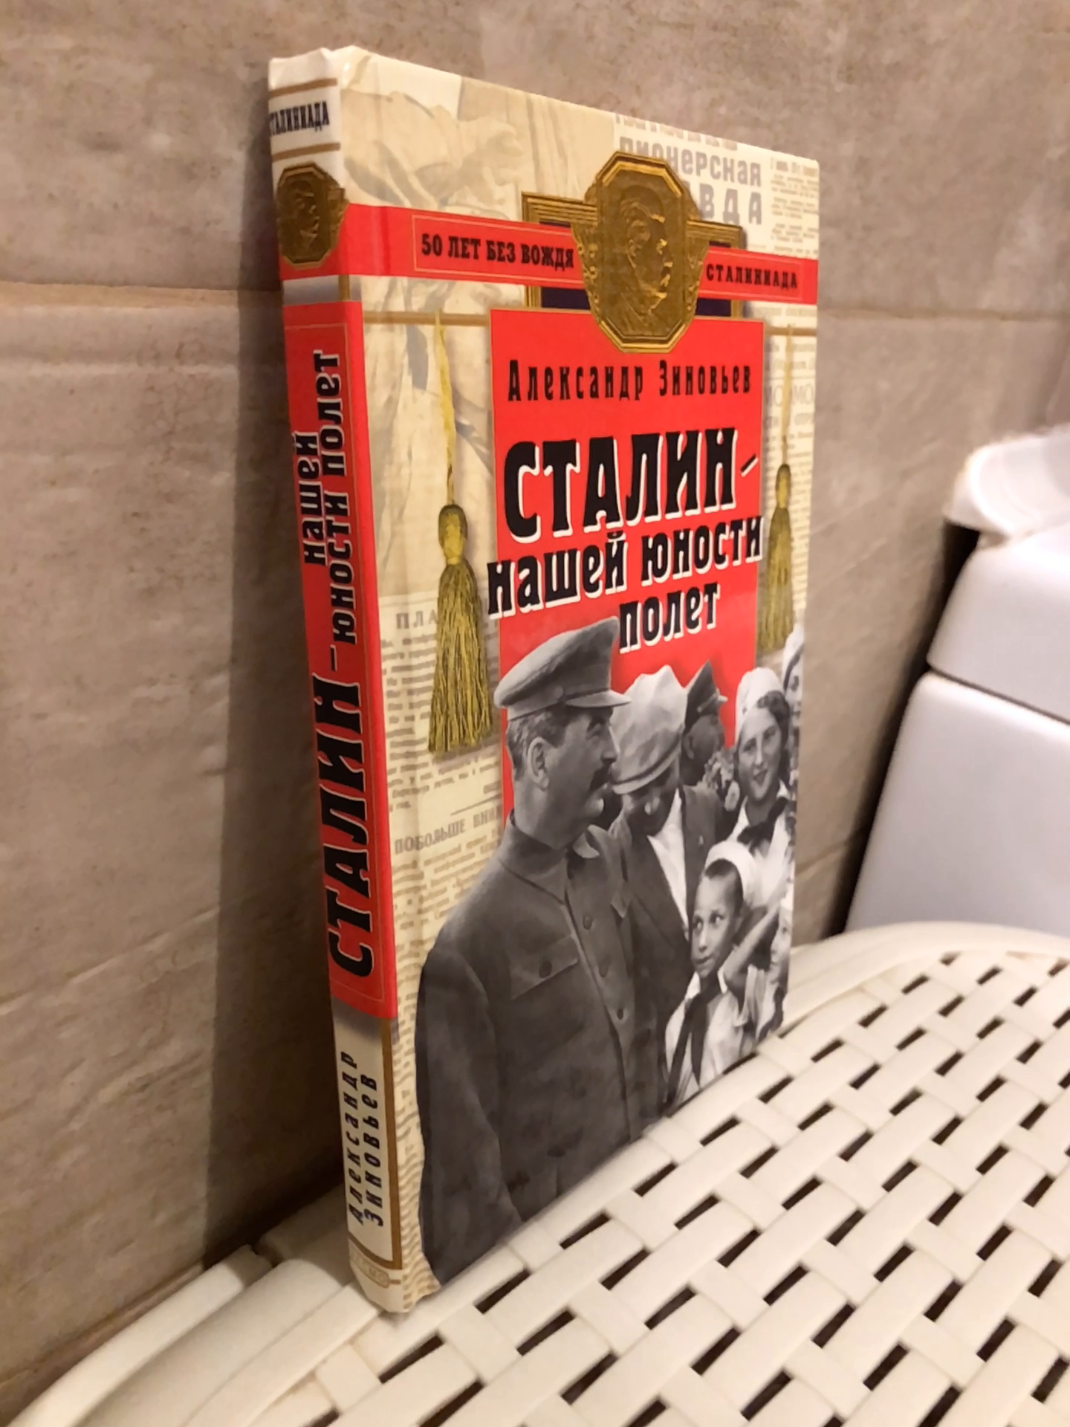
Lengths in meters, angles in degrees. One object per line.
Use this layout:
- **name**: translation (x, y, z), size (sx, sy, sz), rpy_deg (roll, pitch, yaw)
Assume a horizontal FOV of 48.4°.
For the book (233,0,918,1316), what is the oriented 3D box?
- **book**: translation (0.018, -0.013, 0.229), size (0.030, 0.199, 0.141), rpy_deg (15, 22, 42)
